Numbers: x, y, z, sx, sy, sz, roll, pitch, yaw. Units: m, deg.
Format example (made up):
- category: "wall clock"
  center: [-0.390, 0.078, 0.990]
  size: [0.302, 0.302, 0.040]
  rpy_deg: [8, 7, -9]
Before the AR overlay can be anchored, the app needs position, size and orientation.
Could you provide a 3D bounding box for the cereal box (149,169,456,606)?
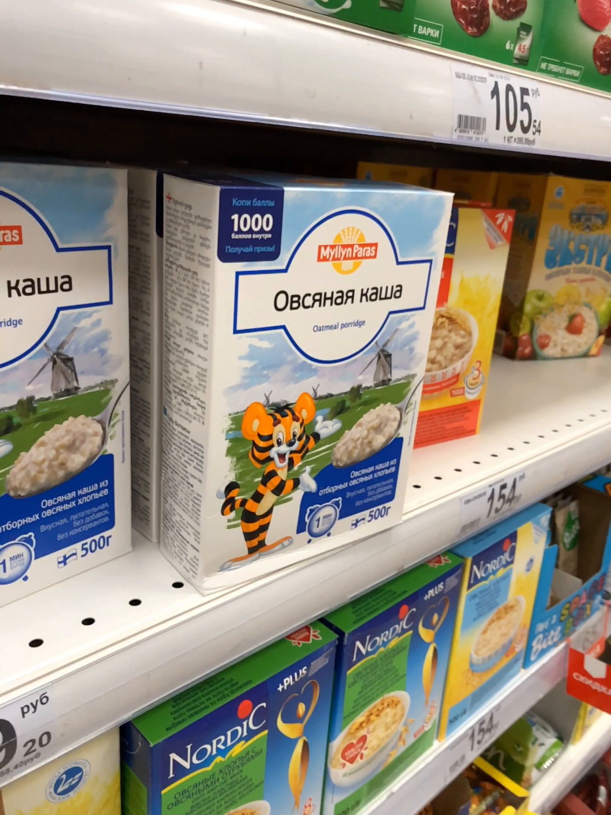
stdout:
- category: "cereal box"
  center: [-0.004, -0.015, 0.375]
  size: [0.150, 0.209, 0.050]
  rpy_deg: [-10, 26, -36]
